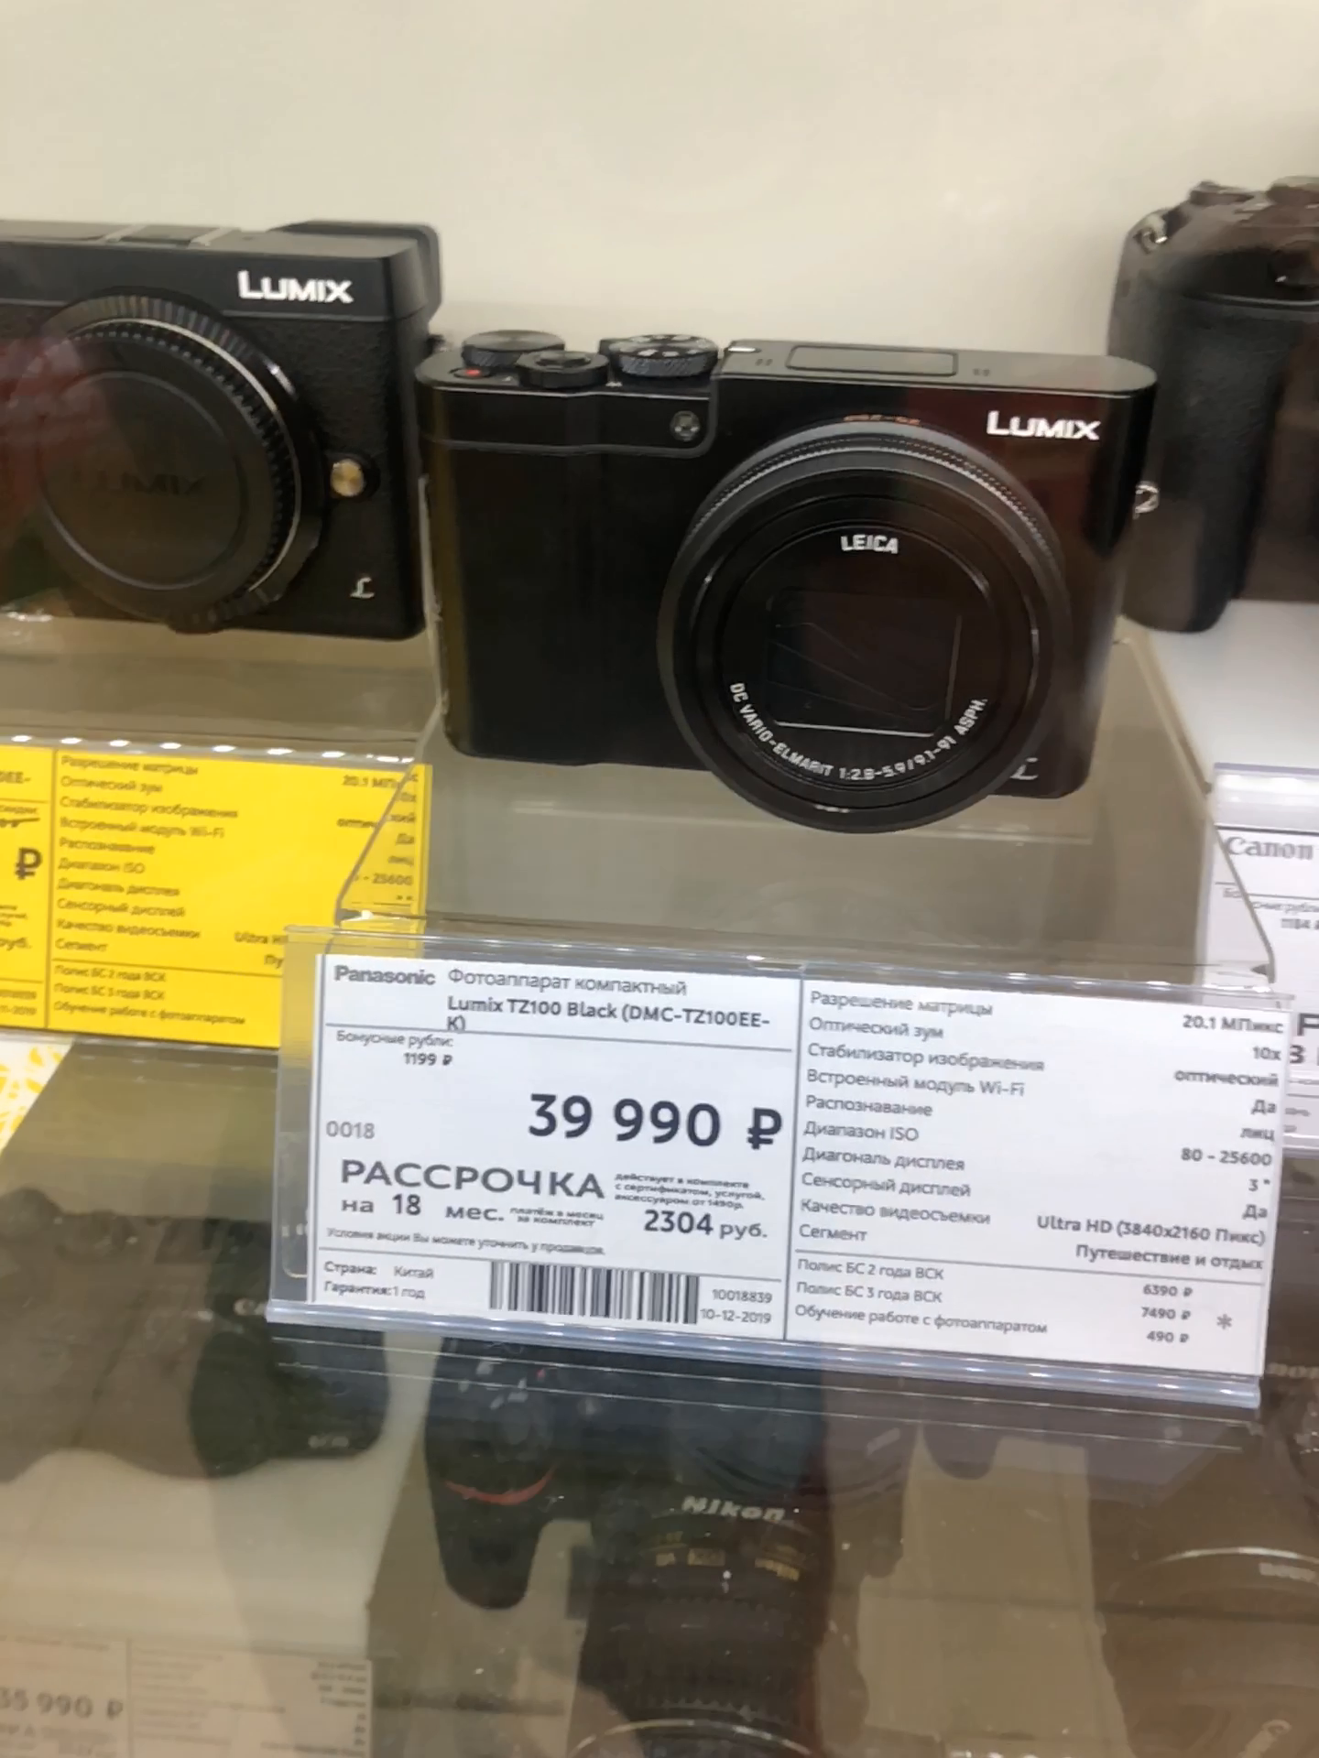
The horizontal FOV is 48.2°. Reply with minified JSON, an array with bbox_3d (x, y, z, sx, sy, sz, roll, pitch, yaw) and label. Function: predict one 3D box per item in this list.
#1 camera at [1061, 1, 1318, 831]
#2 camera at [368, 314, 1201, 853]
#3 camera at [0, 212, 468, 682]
[{"bbox_3d":[0.173,-0.100,0.275,0.157,0.099,0.164,4,34,5],"label":"camera"},{"bbox_3d":[0.017,-0.047,0.230,0.111,0.068,0.038,4,32,5],"label":"camera"},{"bbox_3d":[-0.097,-0.083,0.277,0.108,0.068,0.055,4,32,5],"label":"camera"}]
